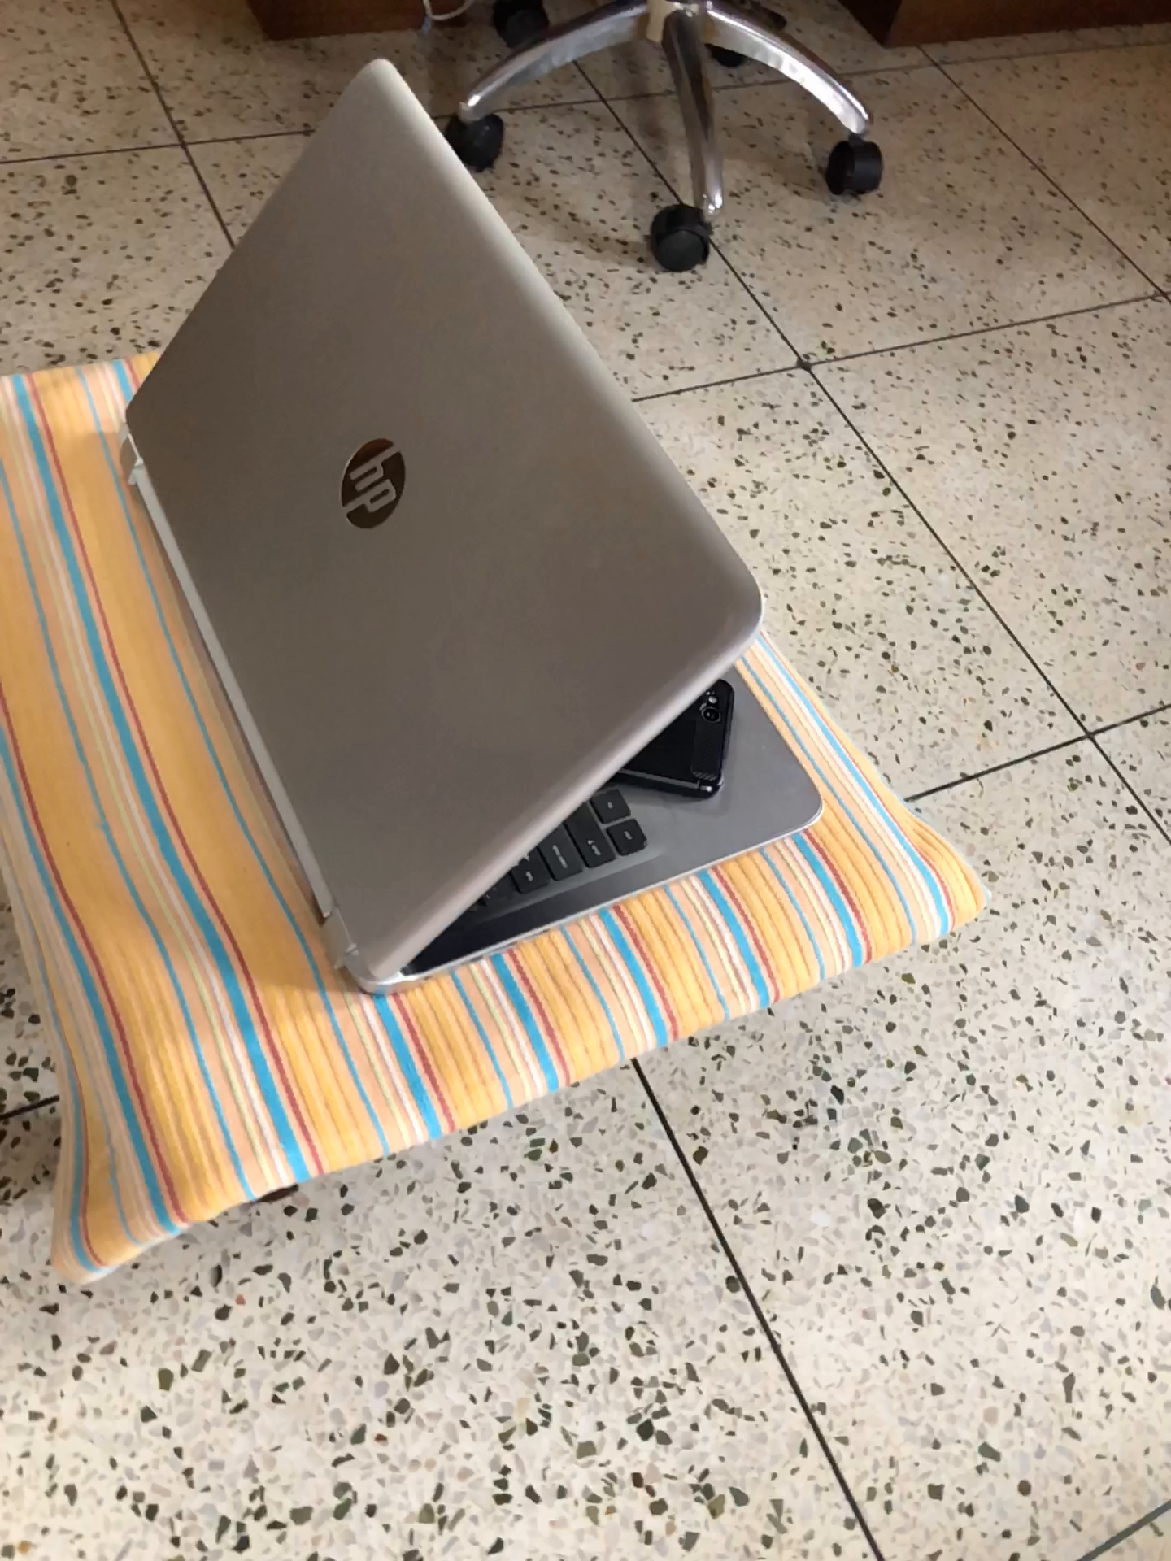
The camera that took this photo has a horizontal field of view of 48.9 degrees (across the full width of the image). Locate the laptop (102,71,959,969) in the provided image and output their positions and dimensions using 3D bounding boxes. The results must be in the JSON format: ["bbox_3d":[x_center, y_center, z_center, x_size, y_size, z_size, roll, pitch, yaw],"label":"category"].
[{"bbox_3d":[-0.052,-0.145,0.630,0.237,0.184,0.372,-18,61,-21],"label":"laptop"}]
